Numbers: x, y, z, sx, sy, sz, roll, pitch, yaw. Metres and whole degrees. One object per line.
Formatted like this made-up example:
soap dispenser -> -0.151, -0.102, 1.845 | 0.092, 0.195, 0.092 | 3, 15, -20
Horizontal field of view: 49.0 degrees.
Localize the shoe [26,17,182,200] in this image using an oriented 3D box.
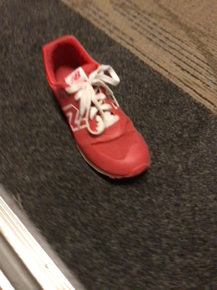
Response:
shoe -> -0.020, -0.063, 0.374 | 0.101, 0.108, 0.257 | -26, 67, -16
